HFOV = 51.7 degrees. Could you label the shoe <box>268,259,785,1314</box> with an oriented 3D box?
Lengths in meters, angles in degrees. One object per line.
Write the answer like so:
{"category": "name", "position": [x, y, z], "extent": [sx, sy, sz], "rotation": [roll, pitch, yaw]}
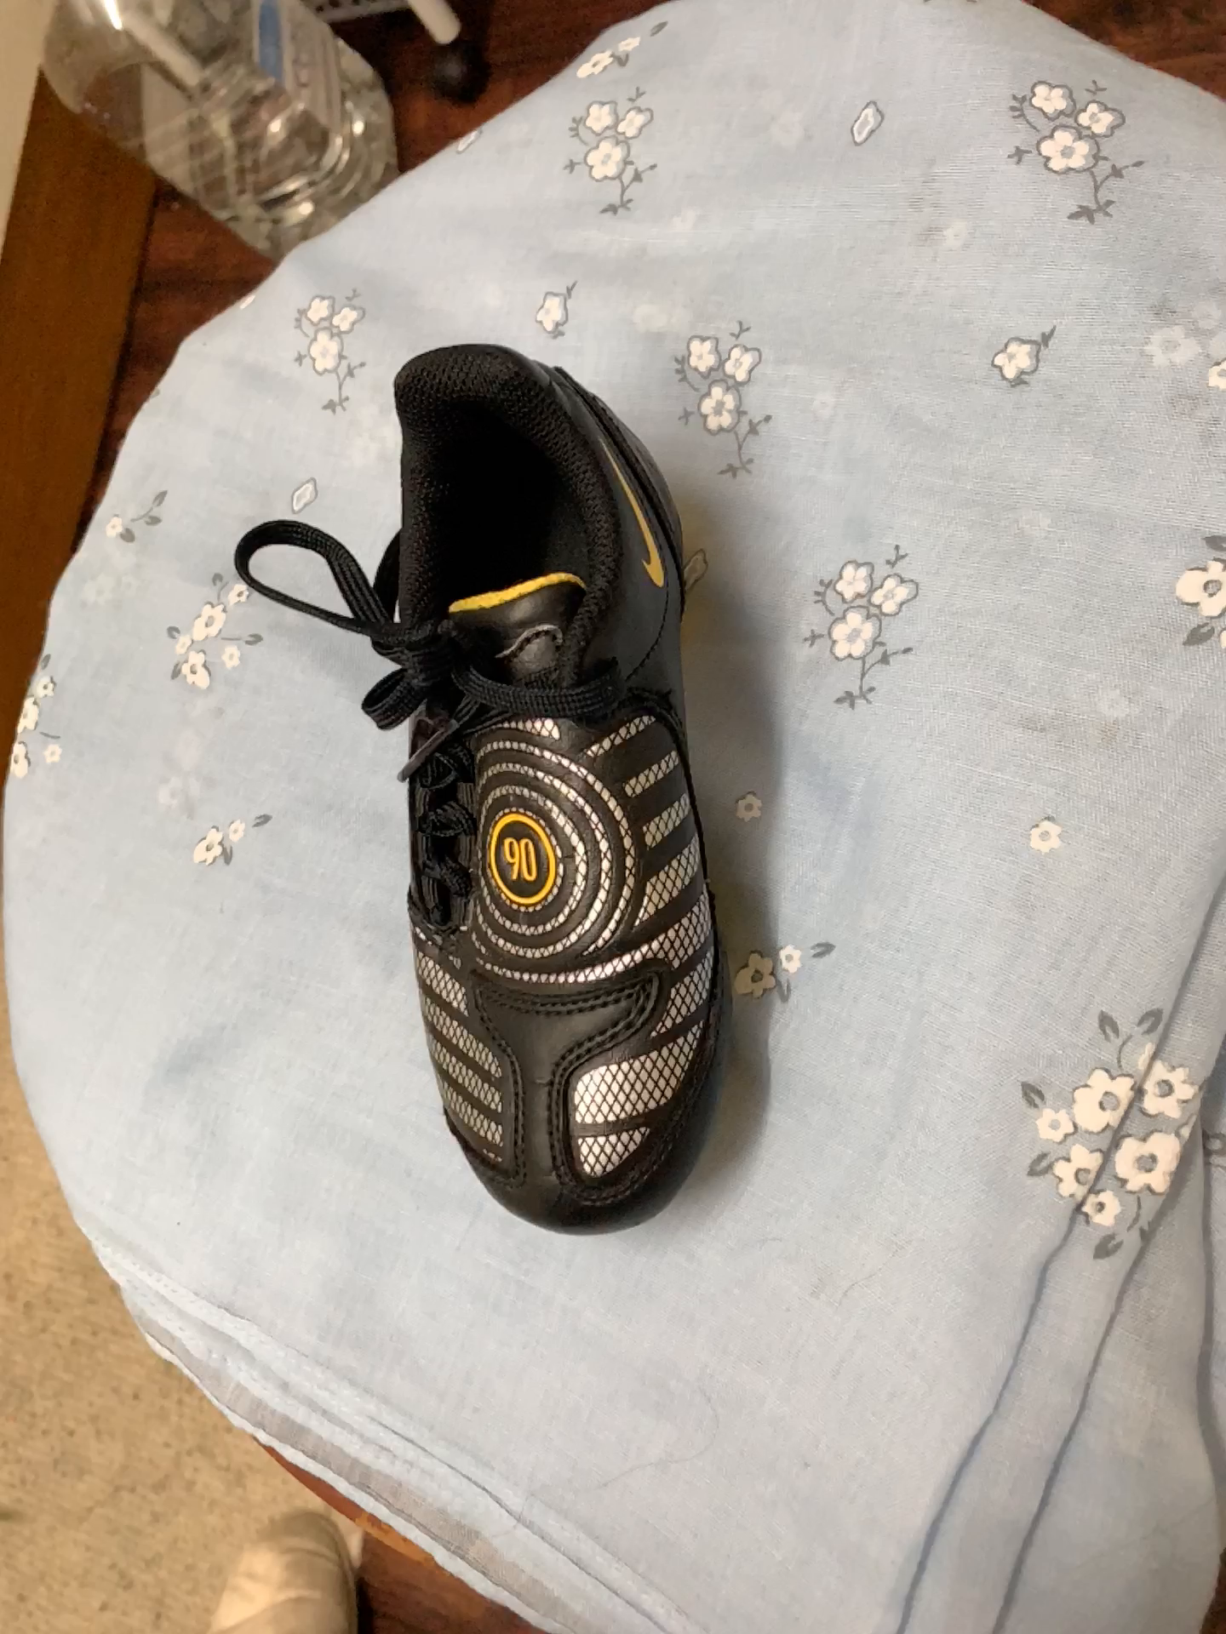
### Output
{"category": "shoe", "position": [-0.013, -0.005, 0.271], "extent": [0.080, 0.070, 0.190], "rotation": [-4, 79, 24]}
